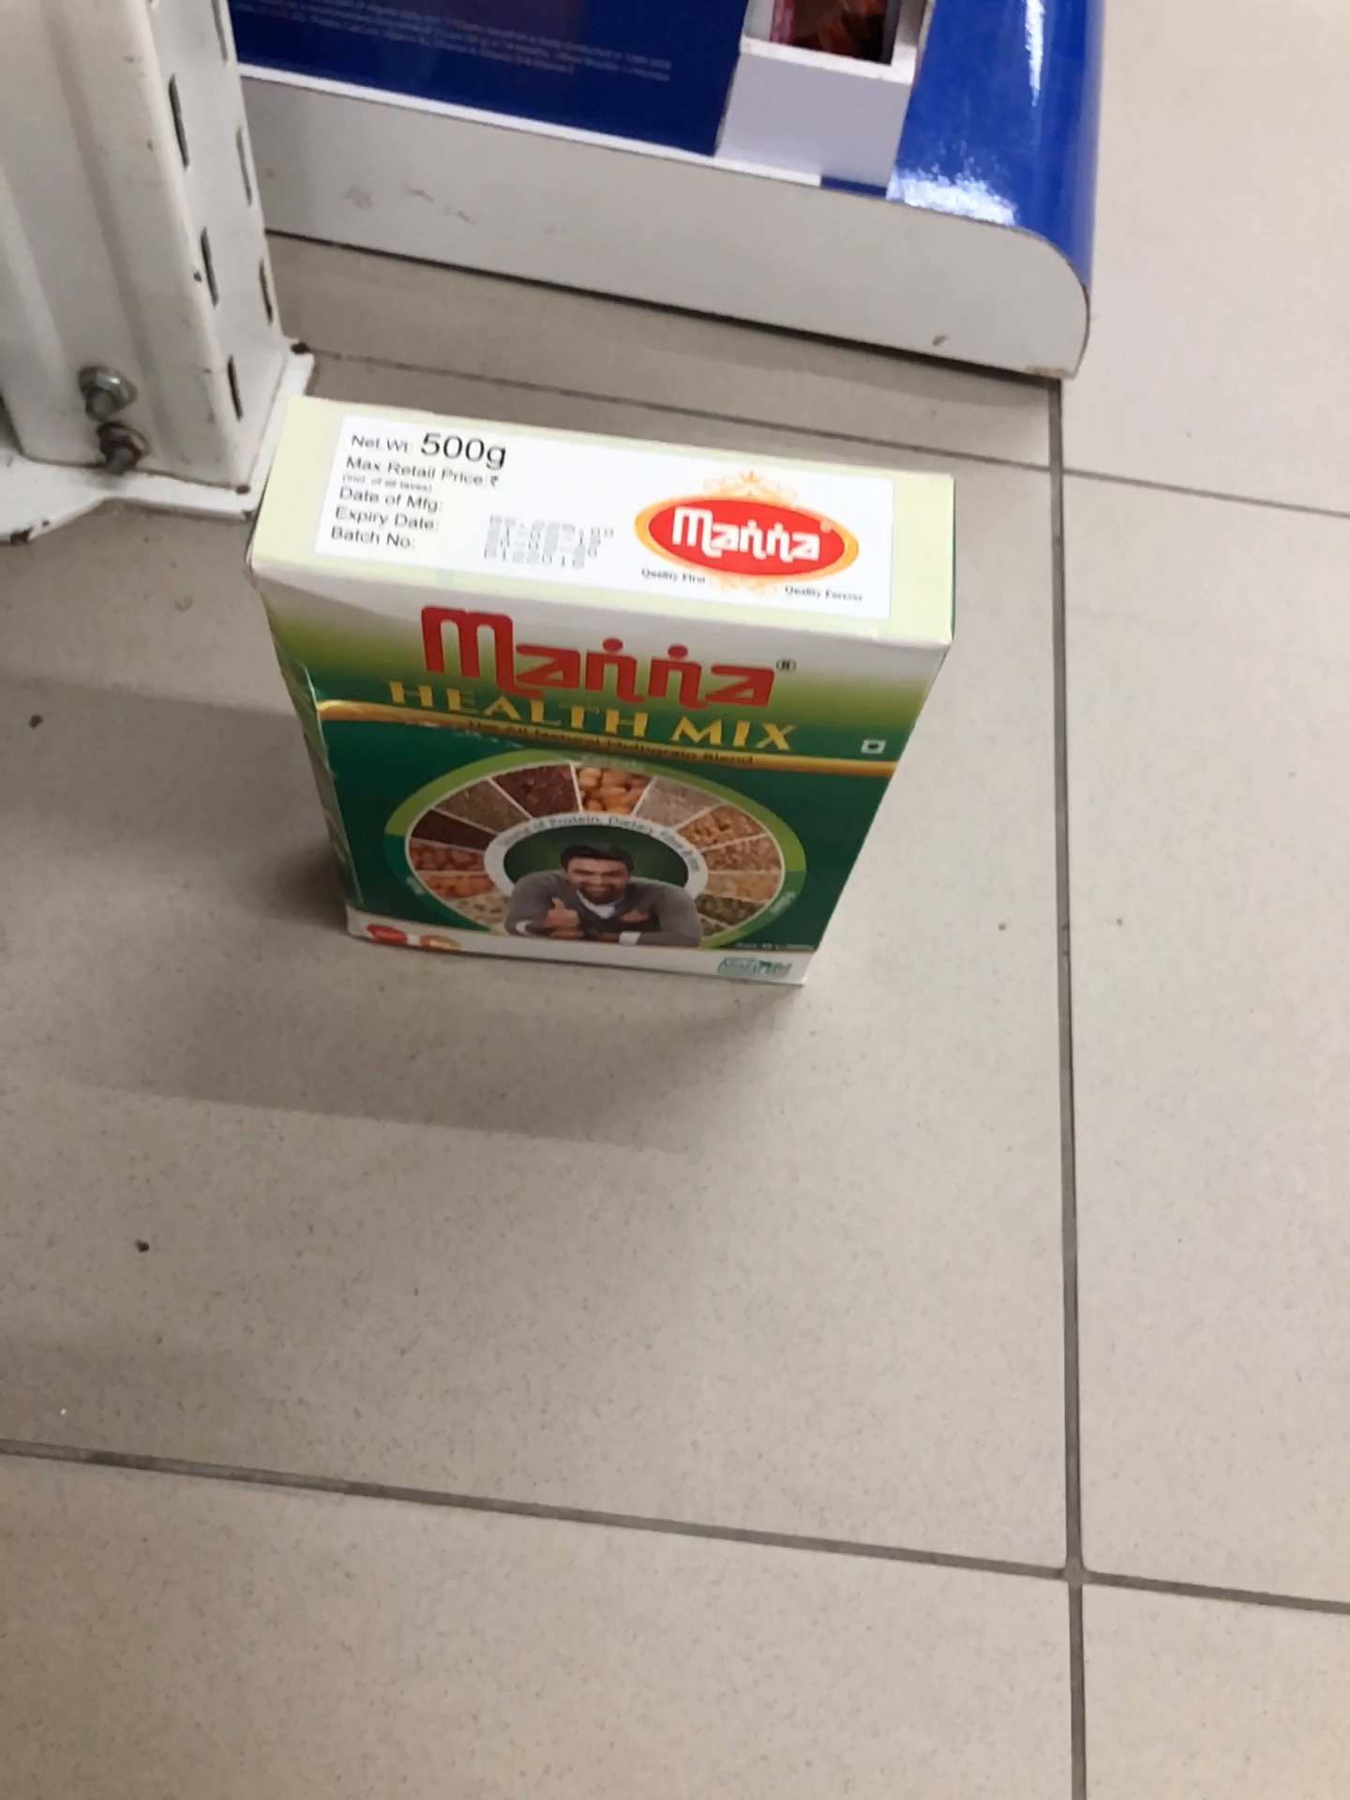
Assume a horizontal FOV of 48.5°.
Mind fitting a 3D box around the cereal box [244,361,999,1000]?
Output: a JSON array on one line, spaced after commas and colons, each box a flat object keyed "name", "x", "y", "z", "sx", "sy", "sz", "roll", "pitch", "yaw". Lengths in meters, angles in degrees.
[{"name": "cereal box", "x": -0.018, "y": -0.041, "z": 0.392, "sx": 0.150, "sy": 0.189, "sz": 0.050, "roll": 6, "pitch": 63, "yaw": -4}]
